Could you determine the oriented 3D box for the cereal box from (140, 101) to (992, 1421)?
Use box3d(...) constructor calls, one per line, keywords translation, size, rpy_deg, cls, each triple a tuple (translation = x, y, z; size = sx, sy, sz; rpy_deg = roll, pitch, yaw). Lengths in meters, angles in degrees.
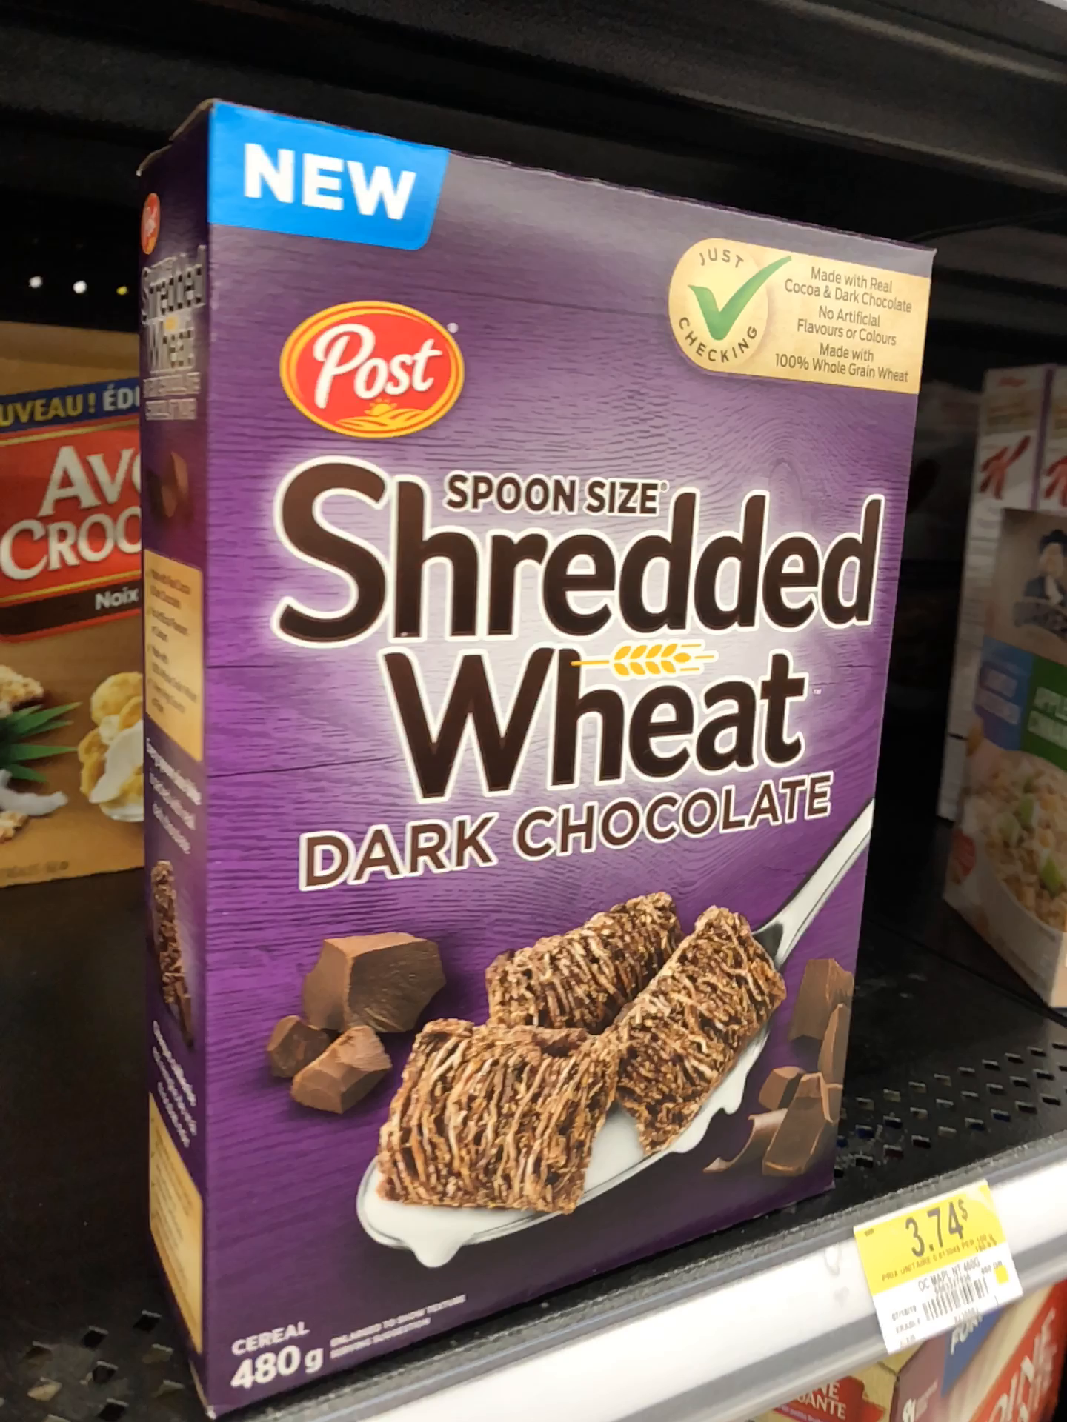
box3d(translation=(0.009, 0.013, 0.307), size=(0.200, 0.269, 0.060), rpy_deg=(-4, 14, -31), cls="cereal box")
